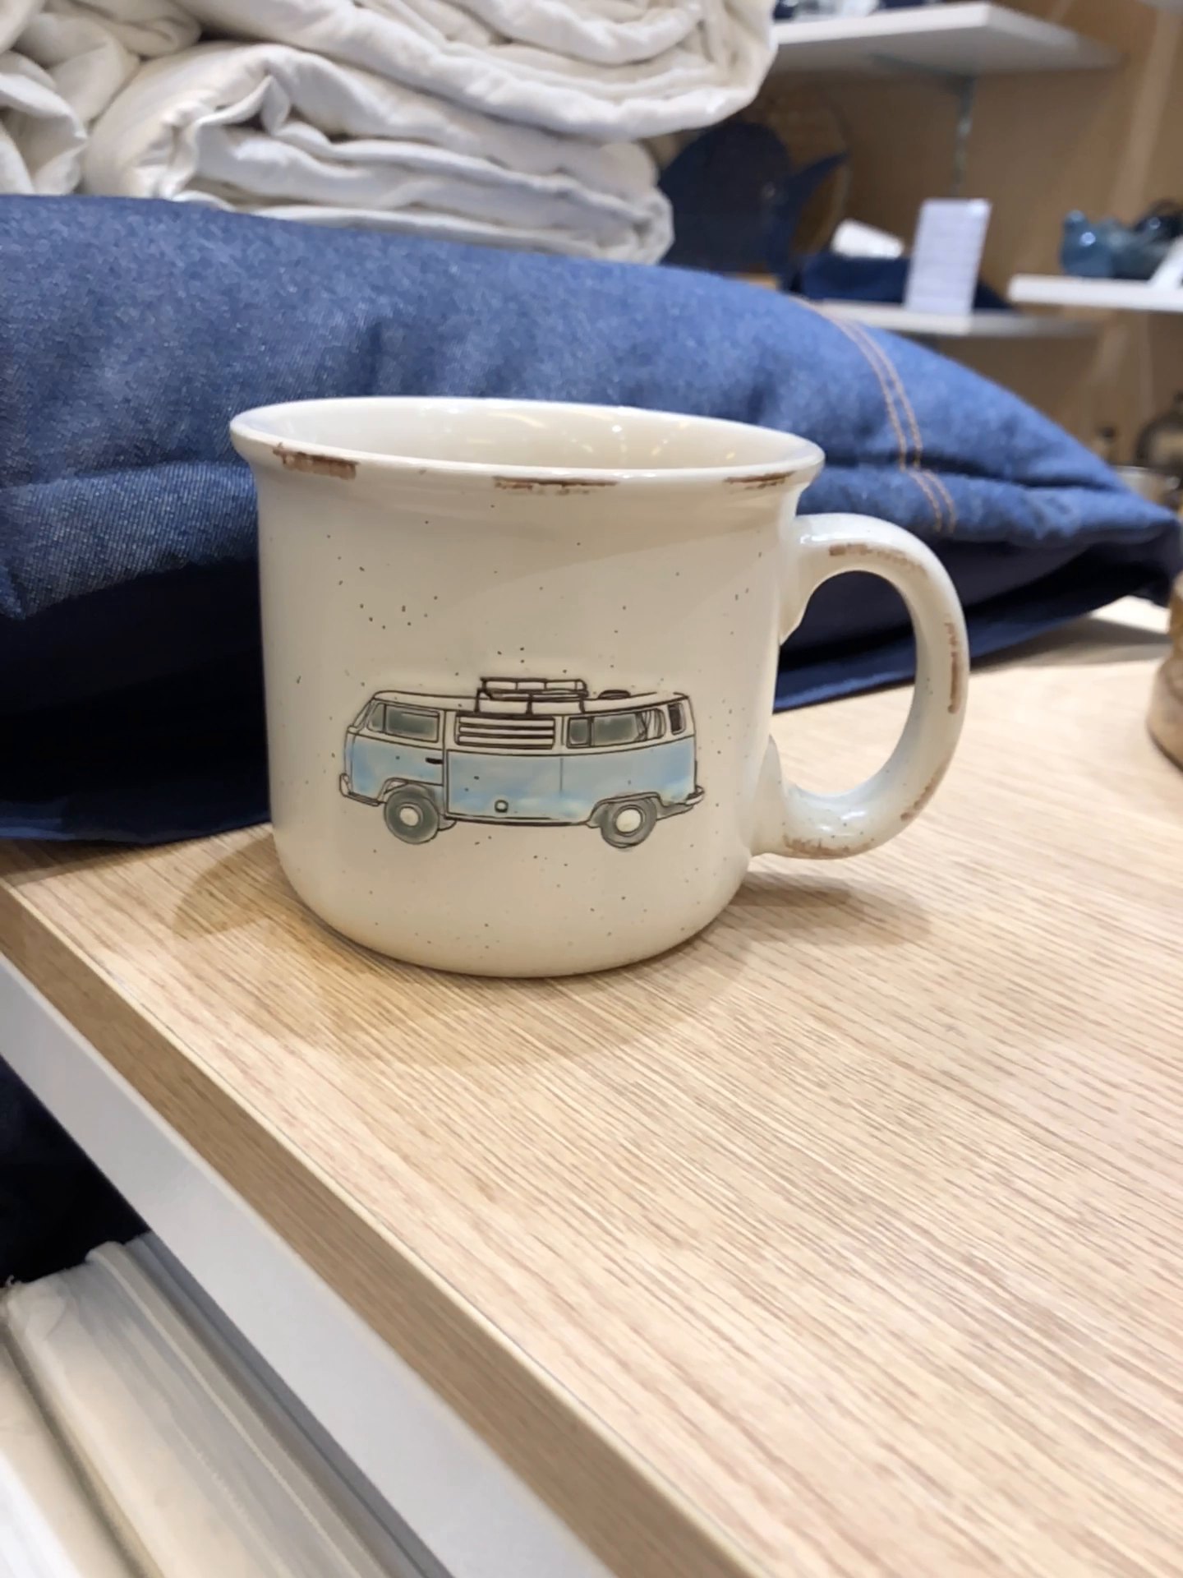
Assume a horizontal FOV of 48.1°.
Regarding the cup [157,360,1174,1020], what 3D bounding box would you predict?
[{"bbox_3d":[0.008,-0.025,0.244,0.140,0.089,0.101,2,21,-2],"label":"cup"}]
